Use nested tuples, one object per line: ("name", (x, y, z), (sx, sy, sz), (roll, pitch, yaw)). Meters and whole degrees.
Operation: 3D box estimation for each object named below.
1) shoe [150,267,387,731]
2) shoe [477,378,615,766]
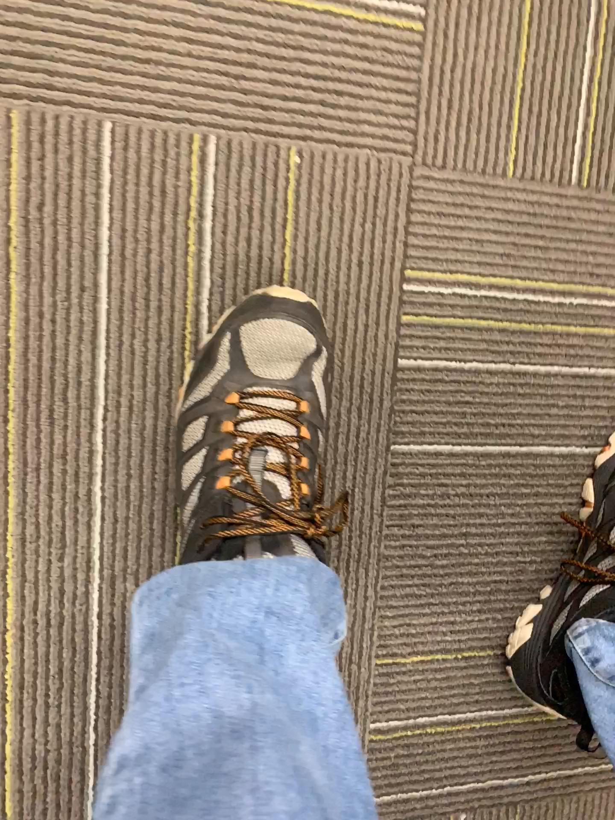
("shoe", (-0.039, 0.066, 0.488), (0.125, 0.095, 0.323), (6, 97, -16))
("shoe", (0.305, 0.145, 0.596), (0.122, 0.095, 0.322), (27, 90, -18))
